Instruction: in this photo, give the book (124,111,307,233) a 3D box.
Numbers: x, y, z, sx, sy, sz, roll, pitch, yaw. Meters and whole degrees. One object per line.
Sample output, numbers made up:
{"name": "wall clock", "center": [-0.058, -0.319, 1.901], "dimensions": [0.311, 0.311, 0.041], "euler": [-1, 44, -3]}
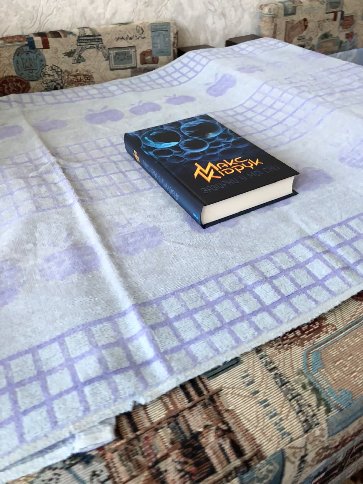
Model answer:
{"name": "book", "center": [0.033, -0.106, 0.528], "dimensions": [0.140, 0.035, 0.221], "euler": [-19, 43, -21]}
